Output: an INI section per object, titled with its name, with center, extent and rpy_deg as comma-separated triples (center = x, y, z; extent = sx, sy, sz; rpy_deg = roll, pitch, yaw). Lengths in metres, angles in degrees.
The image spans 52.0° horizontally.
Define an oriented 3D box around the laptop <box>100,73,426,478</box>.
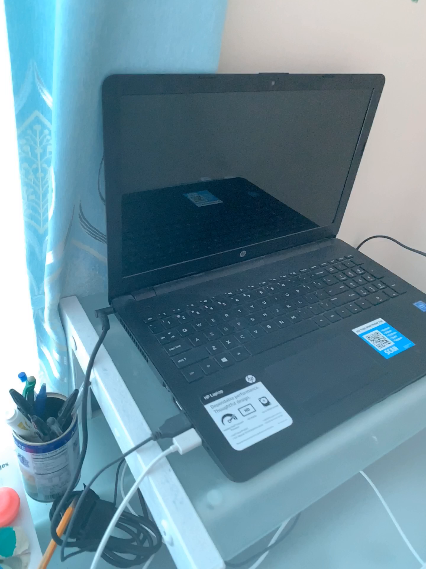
[laptop]
center = 0.113, -0.055, 0.432
extent = 0.359, 0.225, 0.246
rpy_deg = -16, 42, -31
